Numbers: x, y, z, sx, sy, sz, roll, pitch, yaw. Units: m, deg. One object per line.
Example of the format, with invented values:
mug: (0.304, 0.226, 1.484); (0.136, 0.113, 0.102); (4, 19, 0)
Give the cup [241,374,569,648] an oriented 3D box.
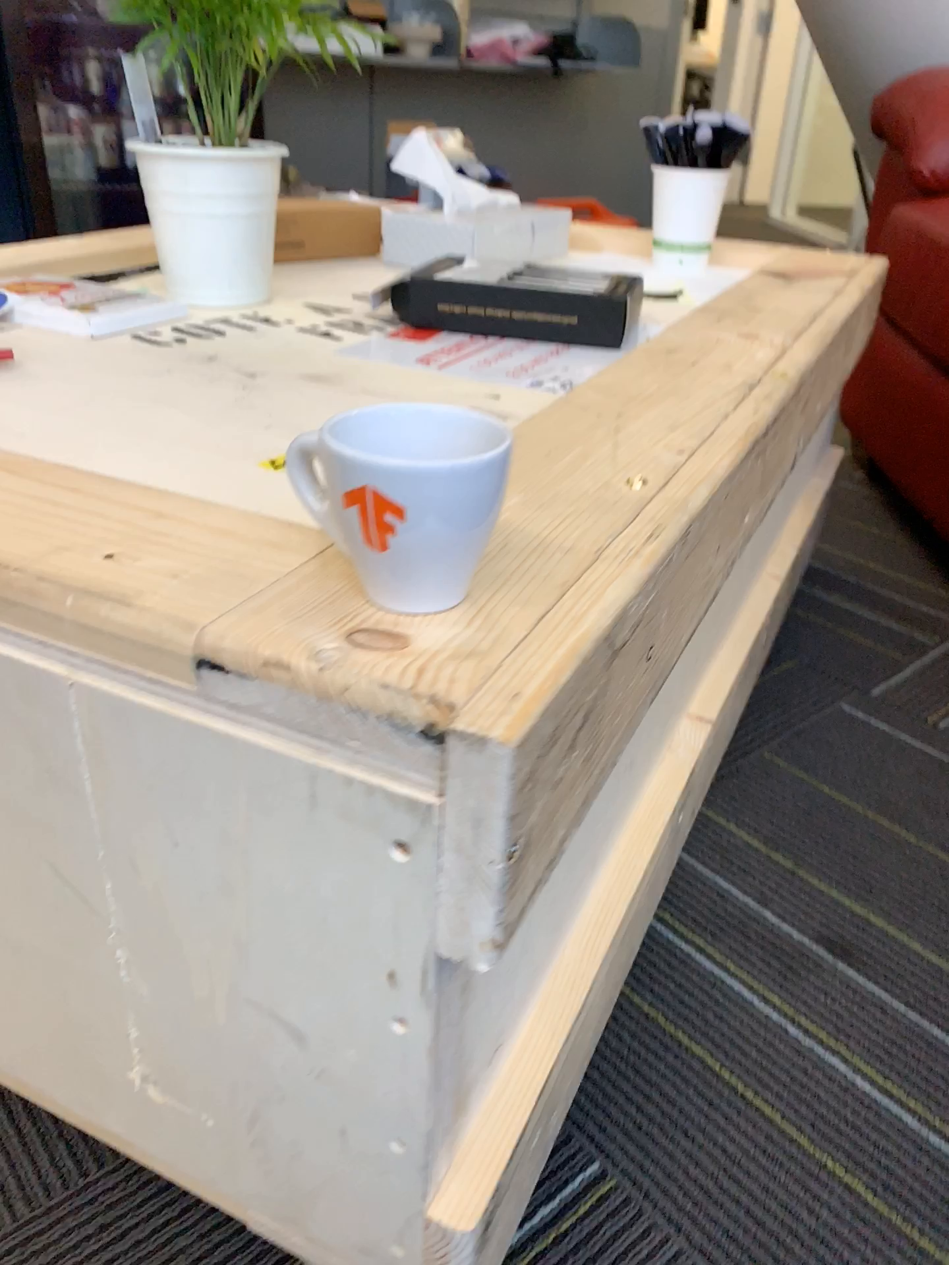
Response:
cup: (-0.023, -0.046, 0.337); (0.090, 0.060, 0.060); (16, 32, 23)
